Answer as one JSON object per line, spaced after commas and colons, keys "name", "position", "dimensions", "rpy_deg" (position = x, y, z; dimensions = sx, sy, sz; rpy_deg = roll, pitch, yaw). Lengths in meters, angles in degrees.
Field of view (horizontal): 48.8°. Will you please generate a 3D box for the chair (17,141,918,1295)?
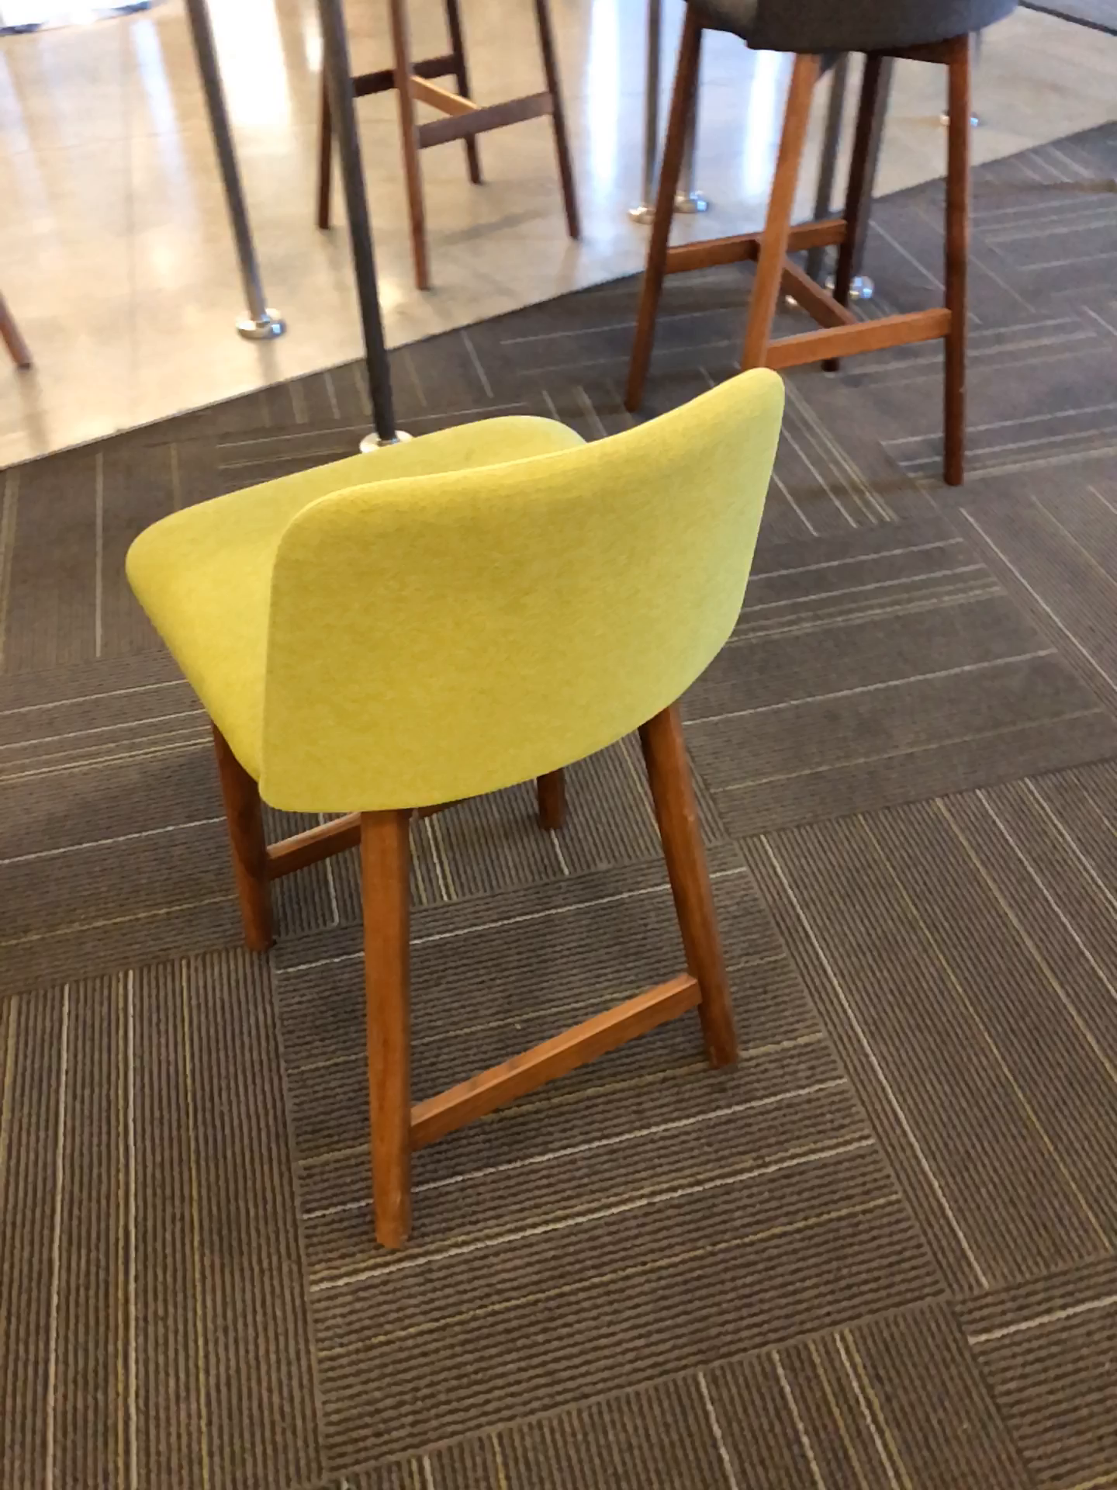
{"name": "chair", "position": [-0.087, 0.005, 1.175], "dimensions": [0.460, 0.876, 0.512], "rpy_deg": [-22, 48, -20]}
